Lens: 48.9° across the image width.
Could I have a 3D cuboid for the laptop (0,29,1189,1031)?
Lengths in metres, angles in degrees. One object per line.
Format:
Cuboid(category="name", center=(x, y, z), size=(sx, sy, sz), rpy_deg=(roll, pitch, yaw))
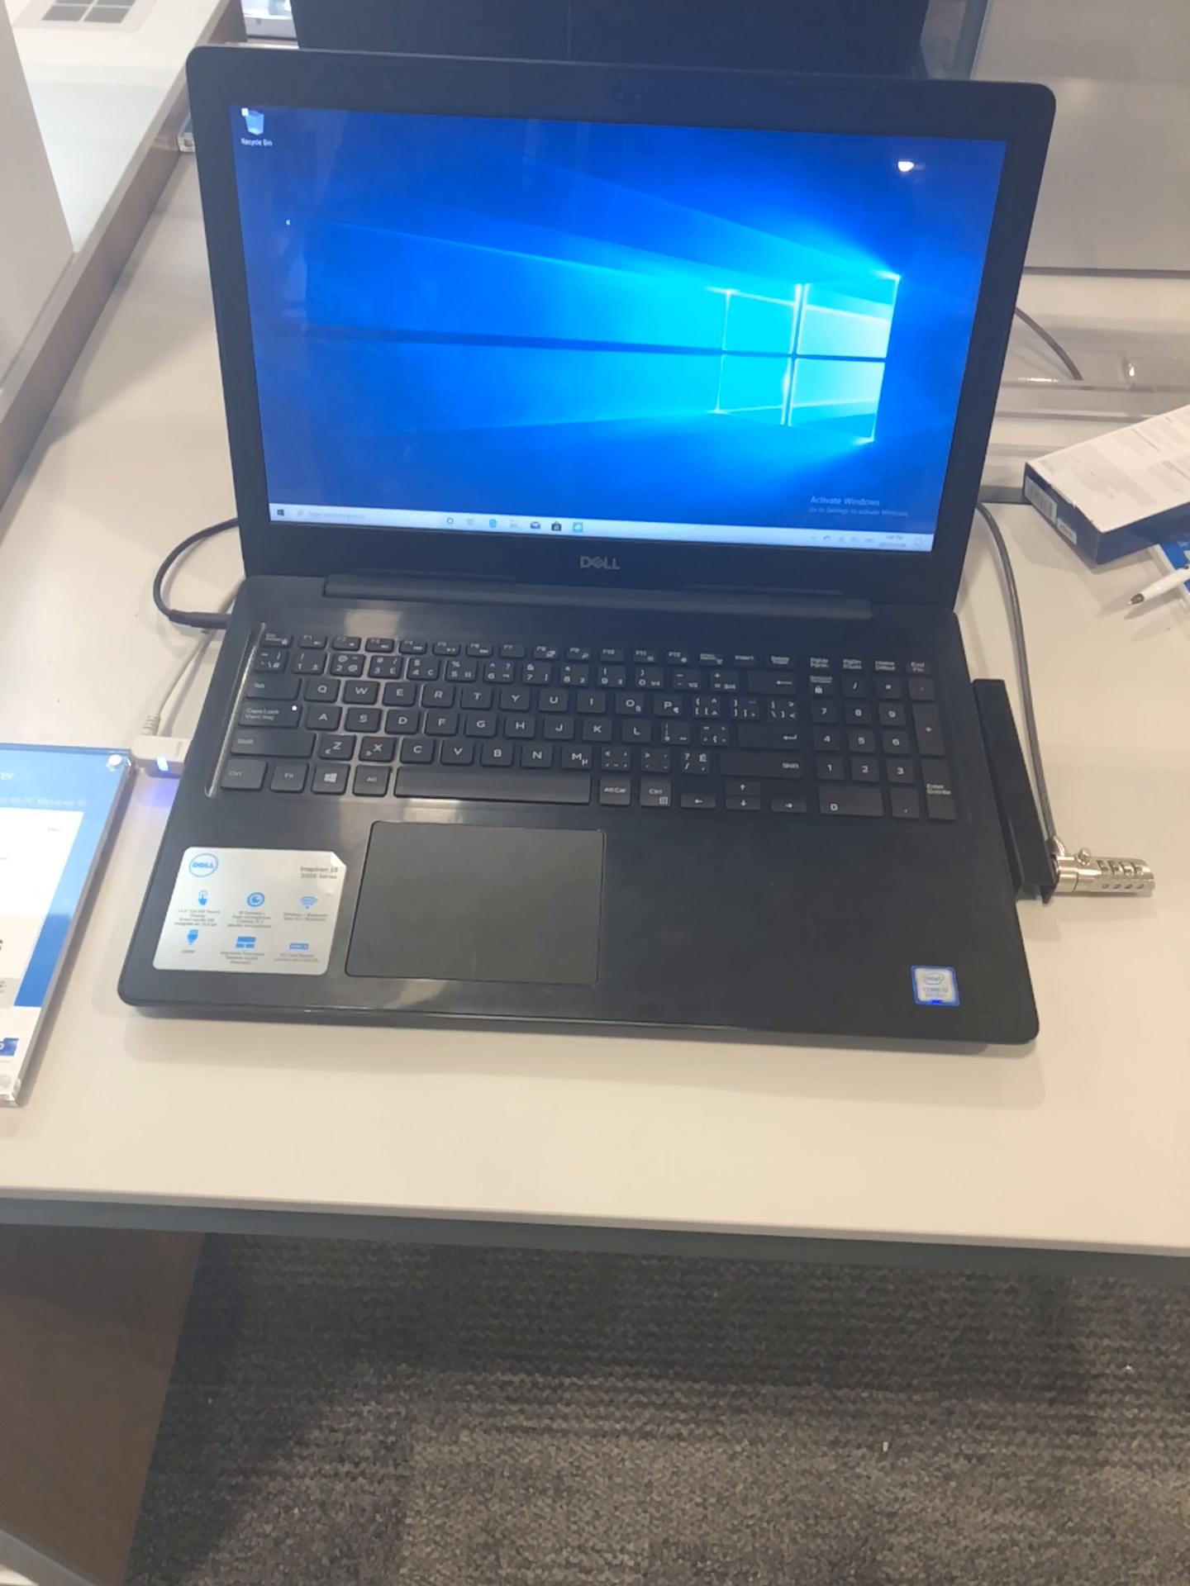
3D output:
Cuboid(category="laptop", center=(0.001, -0.117, 0.549), size=(0.363, 0.224, 0.337), rpy_deg=(3, 53, 1))
